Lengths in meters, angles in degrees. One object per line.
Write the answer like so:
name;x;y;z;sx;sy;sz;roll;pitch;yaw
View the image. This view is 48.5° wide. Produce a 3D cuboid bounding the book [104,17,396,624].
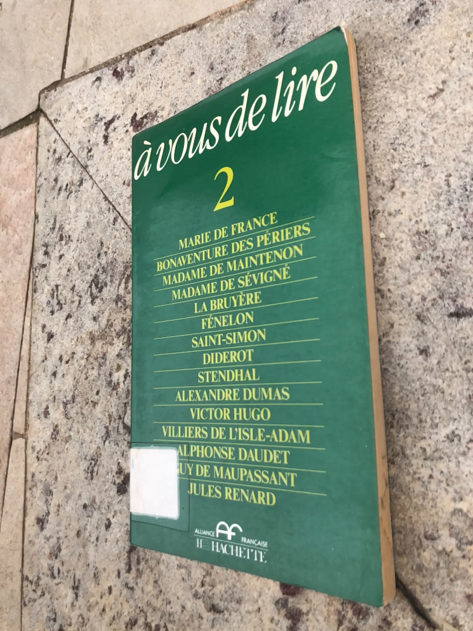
book;-0.006;0.000;0.231;0.140;0.017;0.210;-9;77;41
